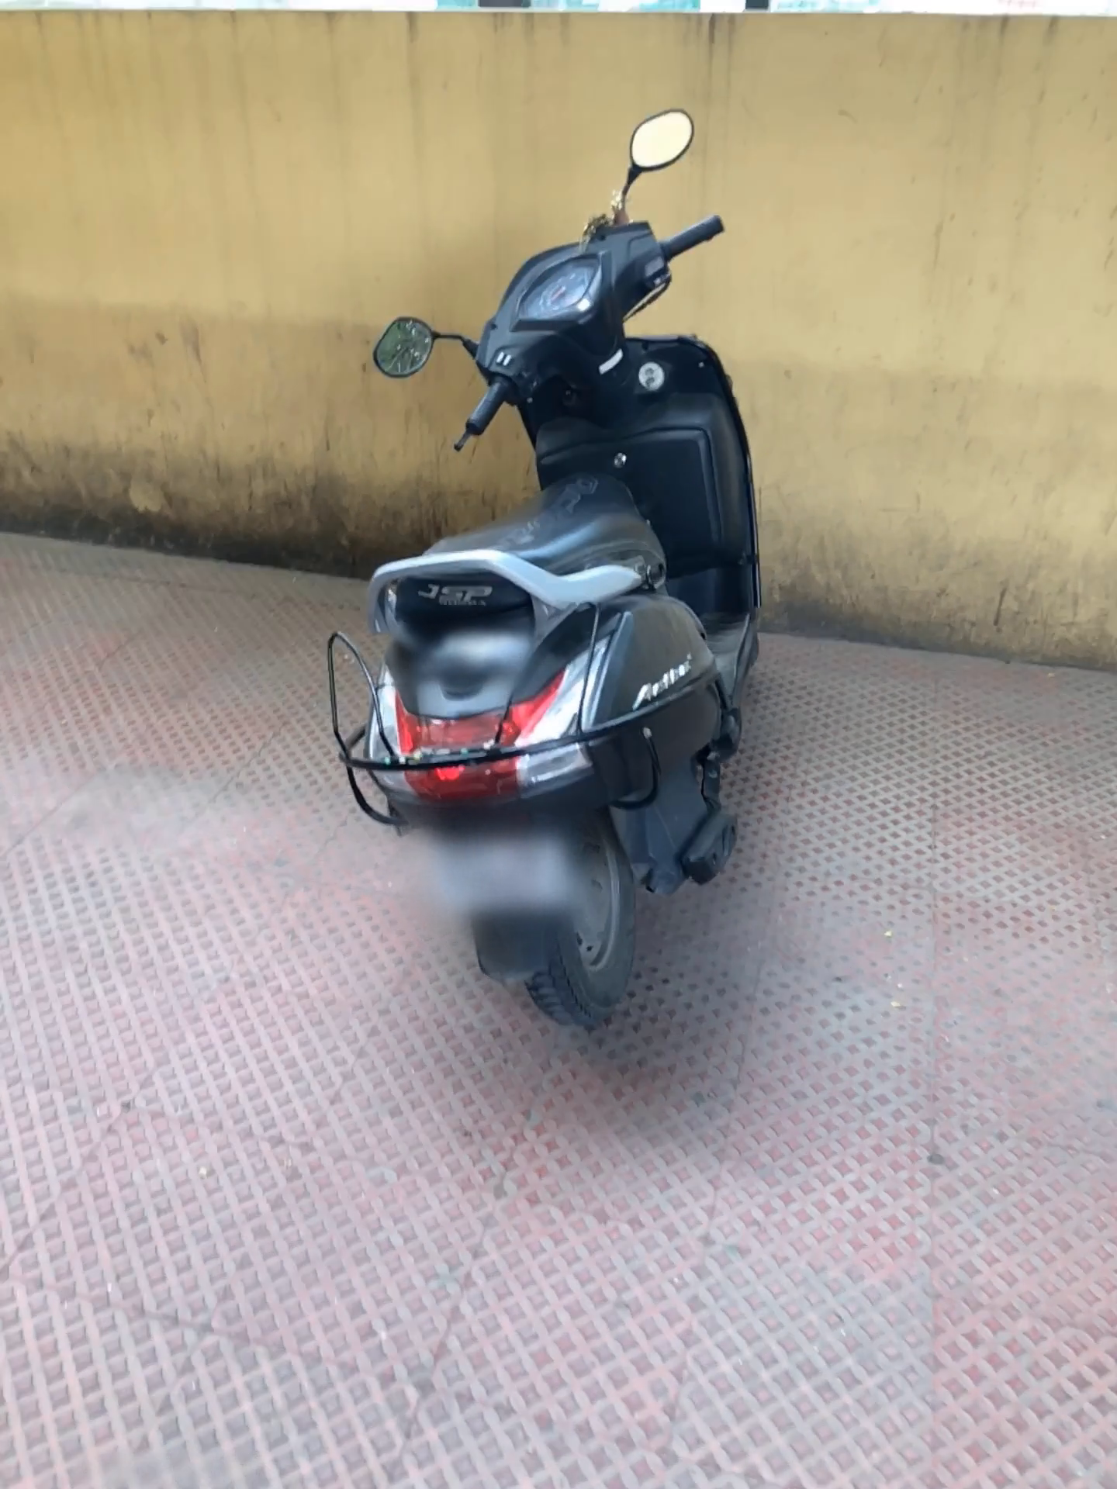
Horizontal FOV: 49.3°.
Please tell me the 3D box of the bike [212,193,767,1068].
[{"bbox_3d":[0.026,-0.382,2.307,0.593,1.044,1.593,5,30,8],"label":"bike"}]
